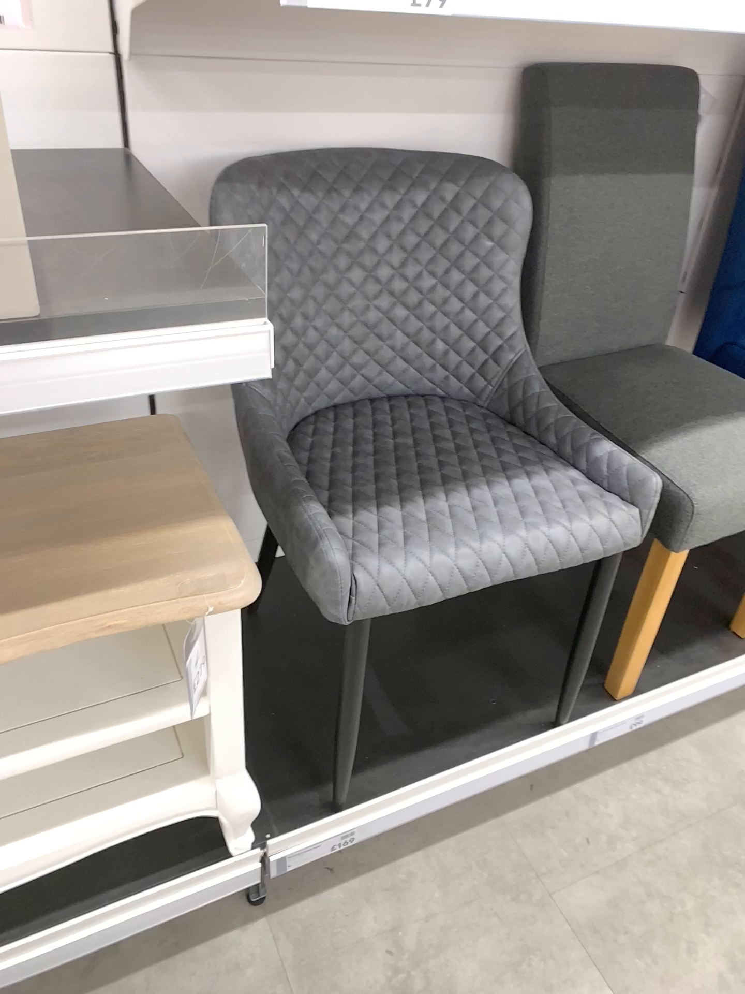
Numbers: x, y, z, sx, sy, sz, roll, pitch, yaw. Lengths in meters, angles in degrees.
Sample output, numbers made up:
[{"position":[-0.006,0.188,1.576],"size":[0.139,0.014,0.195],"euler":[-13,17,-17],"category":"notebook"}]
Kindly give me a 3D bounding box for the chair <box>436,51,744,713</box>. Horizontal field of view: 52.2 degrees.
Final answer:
[{"position":[0.491,-0.206,1.315],"size":[0.431,0.911,0.564],"euler":[-12,38,-24],"category":"chair"}]

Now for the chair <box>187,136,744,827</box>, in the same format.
[{"position":[0.054,-0.055,1.142],"size":[0.481,0.792,0.544],"euler":[-12,38,-23],"category":"chair"}]
